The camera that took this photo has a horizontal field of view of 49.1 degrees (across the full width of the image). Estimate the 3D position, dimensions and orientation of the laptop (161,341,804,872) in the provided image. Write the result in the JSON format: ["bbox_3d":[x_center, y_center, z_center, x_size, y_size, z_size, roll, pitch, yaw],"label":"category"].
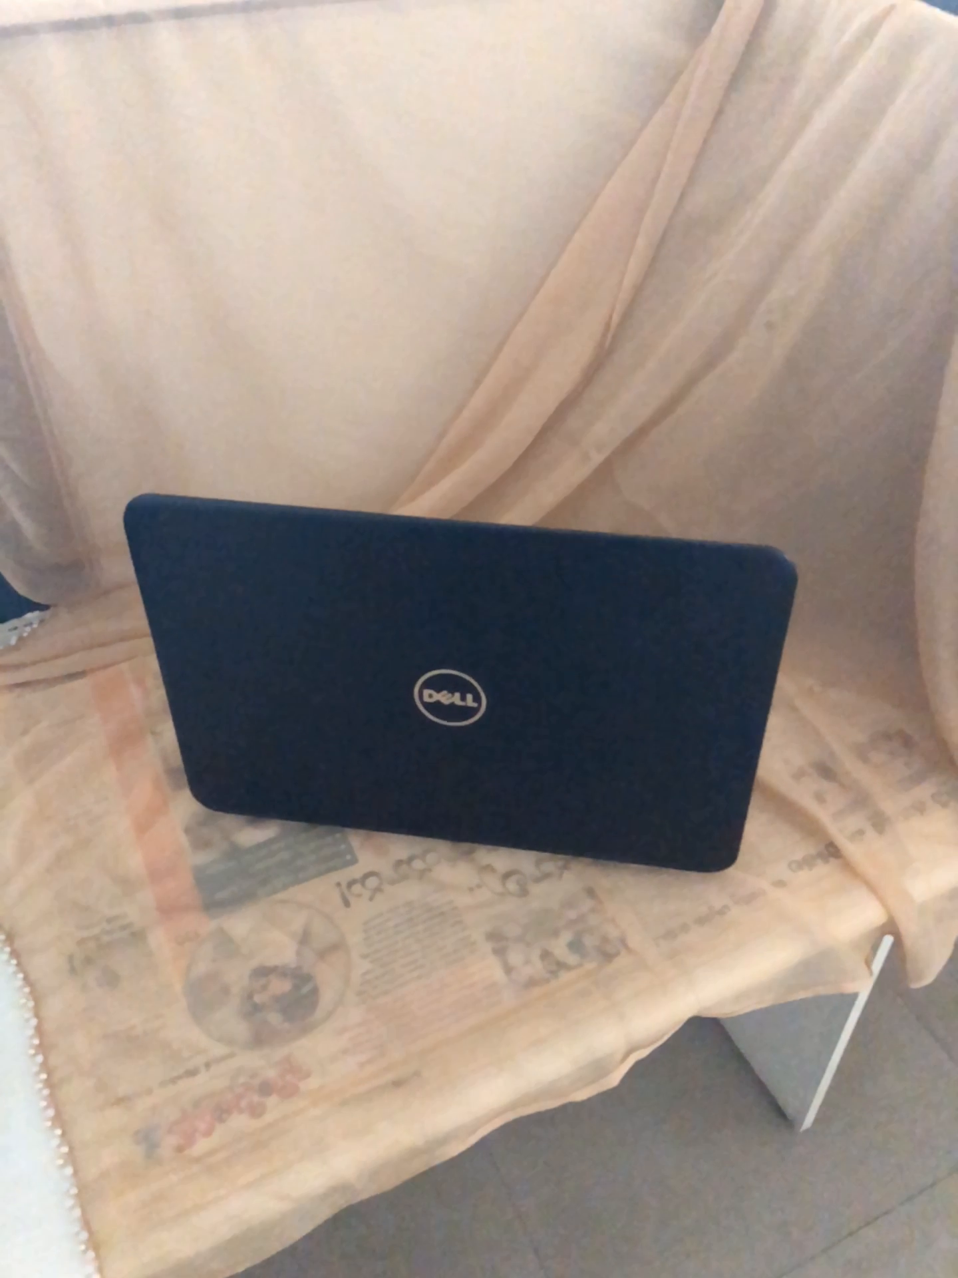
[{"bbox_3d":[0.011,-0.035,0.713,0.332,0.238,0.258,5,39,8],"label":"laptop"}]
